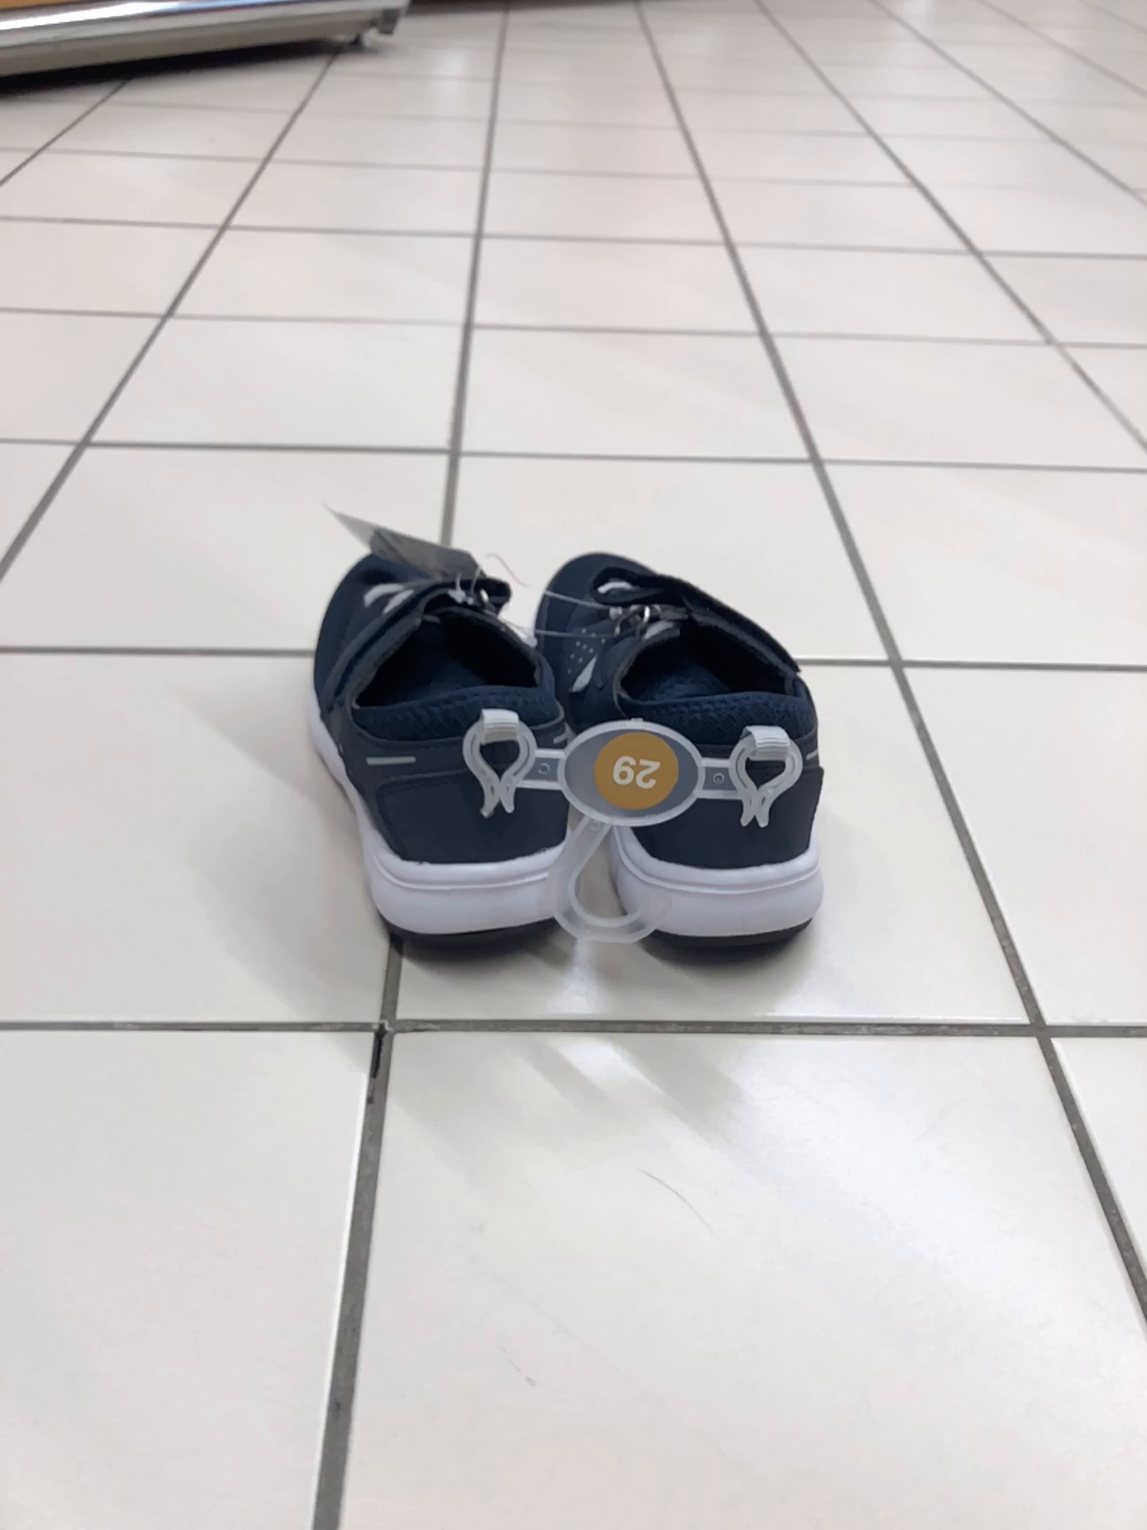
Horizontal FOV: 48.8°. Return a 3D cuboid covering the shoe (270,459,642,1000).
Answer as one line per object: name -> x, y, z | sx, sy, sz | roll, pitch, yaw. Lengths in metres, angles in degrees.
shoe -> -0.050, -0.025, 0.447 | 0.081, 0.080, 0.199 | -9, 39, -15

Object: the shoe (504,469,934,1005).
shoe -> 0.037, -0.022, 0.455 | 0.083, 0.084, 0.196 | -7, 39, -13
